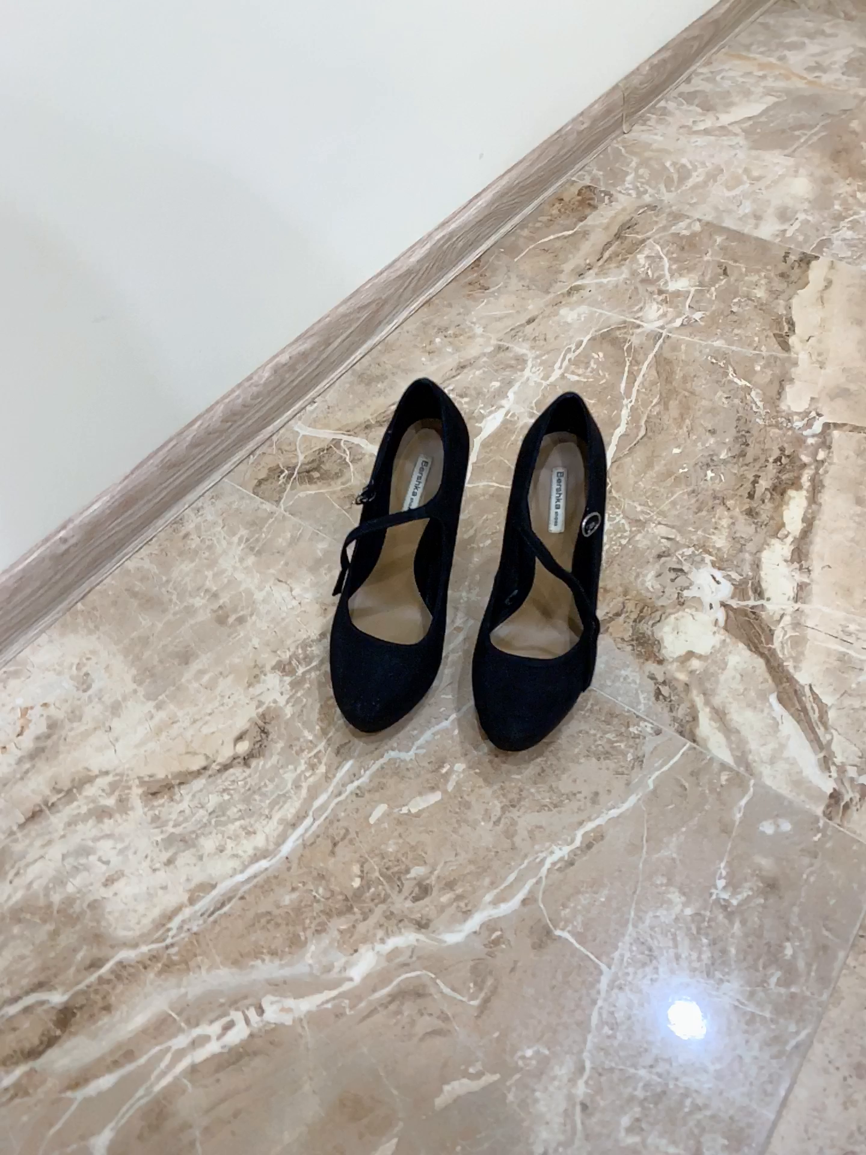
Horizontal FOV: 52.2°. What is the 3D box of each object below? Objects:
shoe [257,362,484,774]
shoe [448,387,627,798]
[{"bbox_3d":[-0.028,-0.007,0.601,0.089,0.169,0.211,8,53,9],"label":"shoe"},{"bbox_3d":[0.071,0.008,0.587,0.080,0.159,0.211,8,53,9],"label":"shoe"}]
